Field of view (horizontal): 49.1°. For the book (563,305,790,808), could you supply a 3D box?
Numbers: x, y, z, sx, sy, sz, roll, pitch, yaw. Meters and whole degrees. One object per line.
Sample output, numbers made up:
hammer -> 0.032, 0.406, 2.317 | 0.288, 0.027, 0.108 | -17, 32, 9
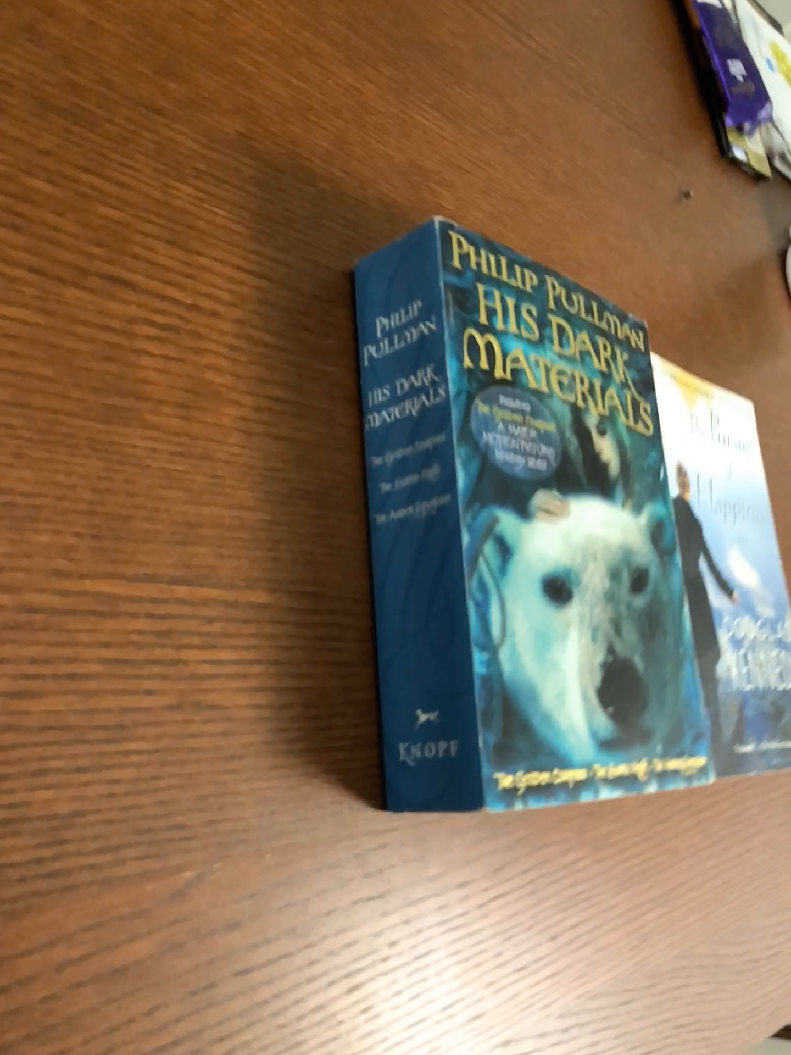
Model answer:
book -> 0.180, 0.020, 0.496 | 0.181, 0.040, 0.250 | 10, 70, -44

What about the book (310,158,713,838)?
book -> 0.055, -0.006, 0.384 | 0.181, 0.050, 0.250 | 10, 70, -44
